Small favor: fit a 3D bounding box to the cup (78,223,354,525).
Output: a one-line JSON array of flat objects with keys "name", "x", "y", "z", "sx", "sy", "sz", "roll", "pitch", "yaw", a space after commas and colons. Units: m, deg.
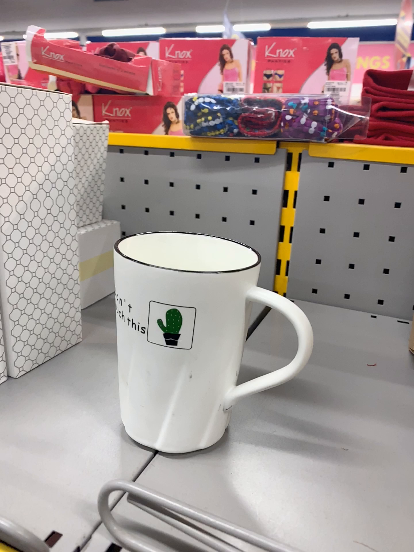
[{"name": "cup", "x": 0.006, "y": 0.043, "z": 0.260, "sx": 0.130, "sy": 0.120, "sz": 0.090, "roll": 11, "pitch": 20, "yaw": 25}]
